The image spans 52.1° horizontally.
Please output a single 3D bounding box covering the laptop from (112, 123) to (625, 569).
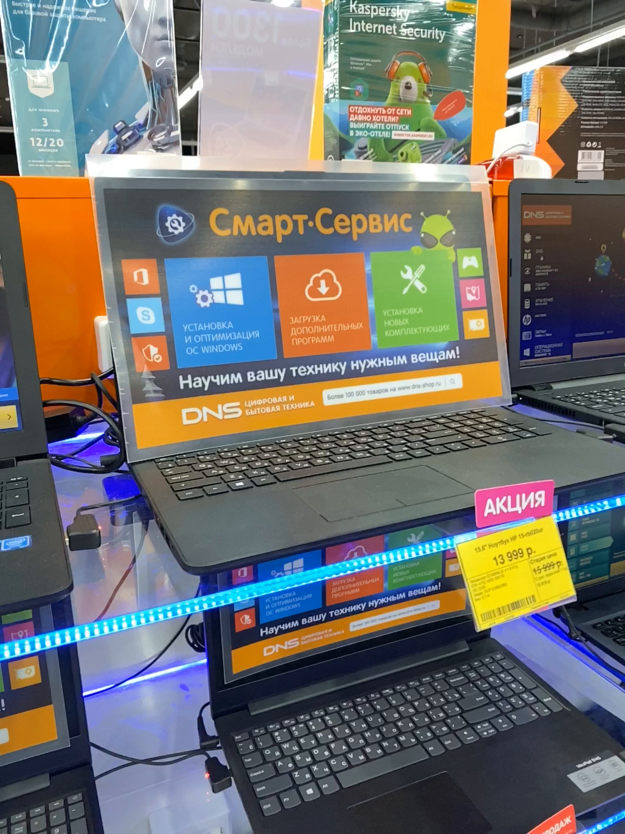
[{"bbox_3d":[0.055,-0.085,0.523,0.377,0.235,0.262,-7,16,-21],"label":"laptop"}]
